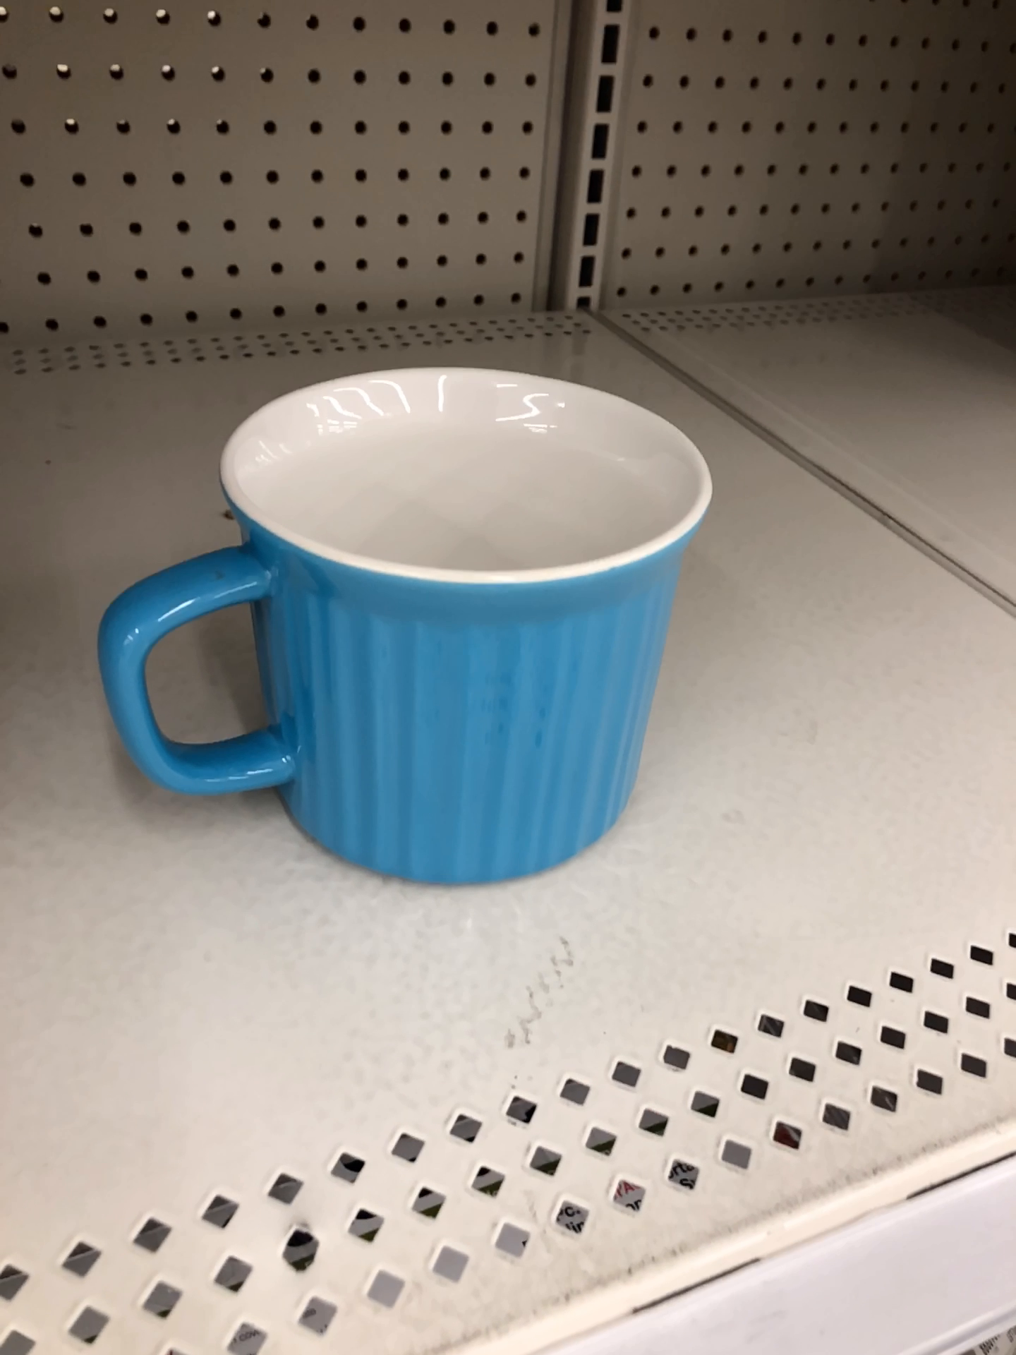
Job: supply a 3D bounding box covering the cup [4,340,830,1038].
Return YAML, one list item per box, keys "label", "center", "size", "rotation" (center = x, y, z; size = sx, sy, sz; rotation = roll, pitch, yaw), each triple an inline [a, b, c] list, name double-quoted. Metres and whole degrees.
- label: "cup"
  center: [-0.025, -0.014, 0.304]
  size: [0.161, 0.093, 0.126]
  rotation: [-19, 42, -30]
